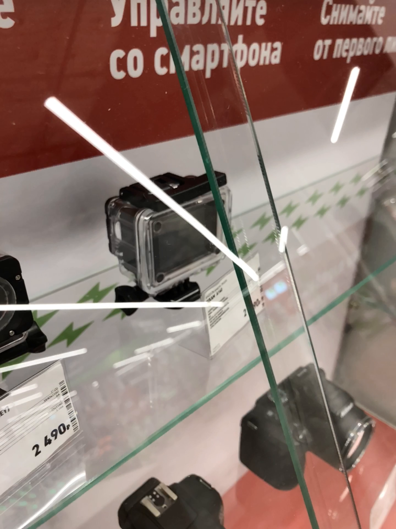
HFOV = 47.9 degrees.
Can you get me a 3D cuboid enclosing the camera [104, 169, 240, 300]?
[{"bbox_3d":[-0.014,-0.022,0.281,0.040,0.053,0.075,25,36,37],"label":"camera"}]
